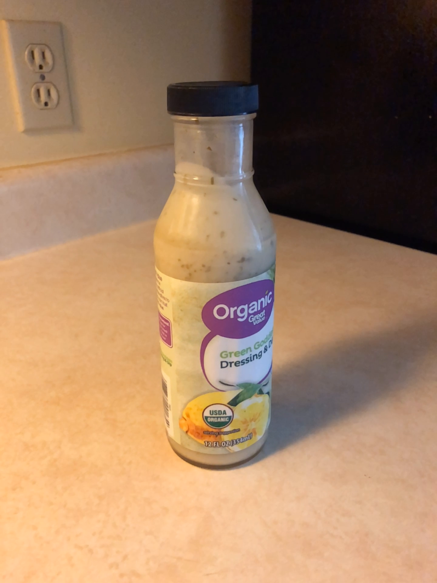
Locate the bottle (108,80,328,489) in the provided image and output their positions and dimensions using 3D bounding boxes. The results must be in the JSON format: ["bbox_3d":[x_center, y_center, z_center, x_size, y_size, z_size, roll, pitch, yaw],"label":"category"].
[{"bbox_3d":[-0.001,-0.005,0.254,0.070,0.189,0.070,-1,25,0],"label":"bottle"}]
